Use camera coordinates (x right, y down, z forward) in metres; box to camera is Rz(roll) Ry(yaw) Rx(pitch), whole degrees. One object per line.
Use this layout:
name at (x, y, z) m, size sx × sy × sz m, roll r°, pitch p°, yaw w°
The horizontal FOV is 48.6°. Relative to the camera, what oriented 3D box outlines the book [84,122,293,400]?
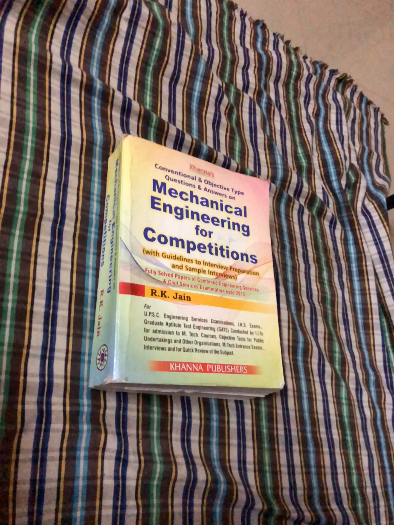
book at (-0.005, 0.008, 0.511) m, size 0.211 × 0.077 × 0.280 m, roll 13°, pitch 64°, yaw -31°
